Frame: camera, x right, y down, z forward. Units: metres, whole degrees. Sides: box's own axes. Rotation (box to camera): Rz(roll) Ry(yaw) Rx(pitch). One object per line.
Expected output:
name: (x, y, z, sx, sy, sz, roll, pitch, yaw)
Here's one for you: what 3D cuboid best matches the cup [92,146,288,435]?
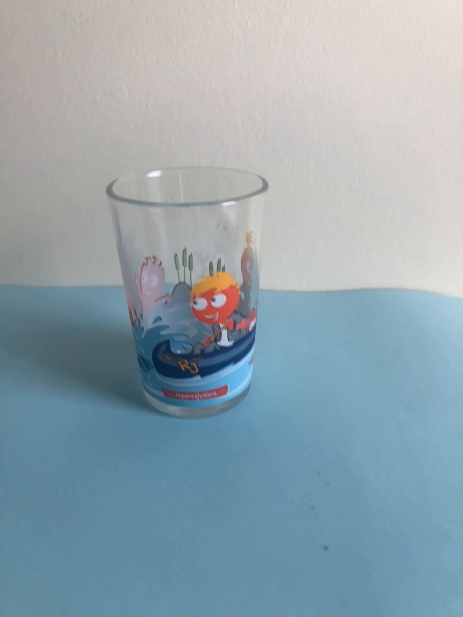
cup: (-0.018, -0.011, 0.221, 0.060, 0.099, 0.060, -1, 26, 0)
